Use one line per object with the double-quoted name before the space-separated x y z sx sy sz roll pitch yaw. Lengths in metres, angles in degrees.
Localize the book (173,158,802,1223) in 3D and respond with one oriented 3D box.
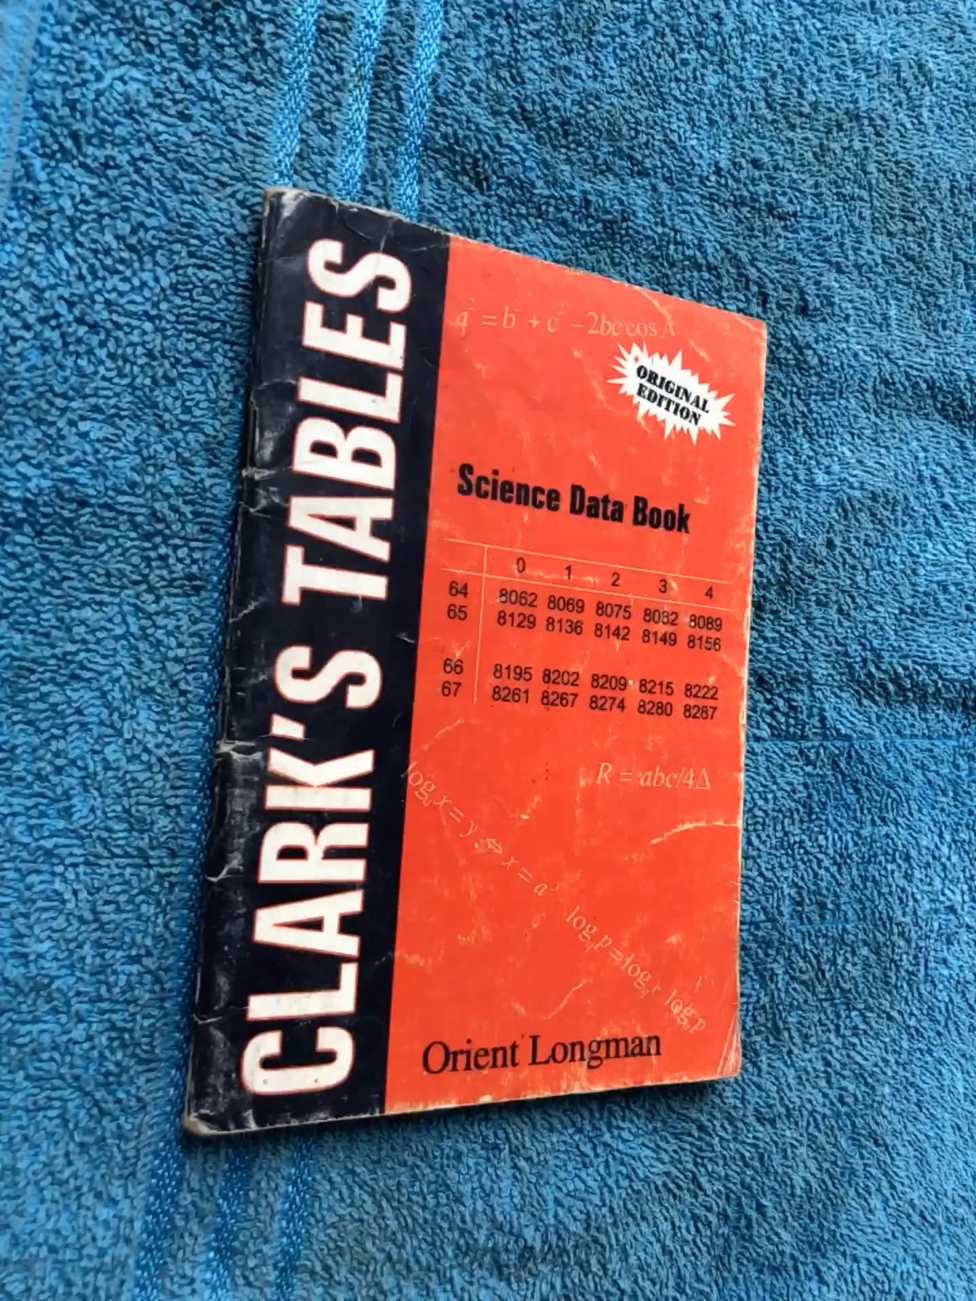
"book" 0.006 0.009 0.225 0.120 0.030 0.180 5 85 -27
